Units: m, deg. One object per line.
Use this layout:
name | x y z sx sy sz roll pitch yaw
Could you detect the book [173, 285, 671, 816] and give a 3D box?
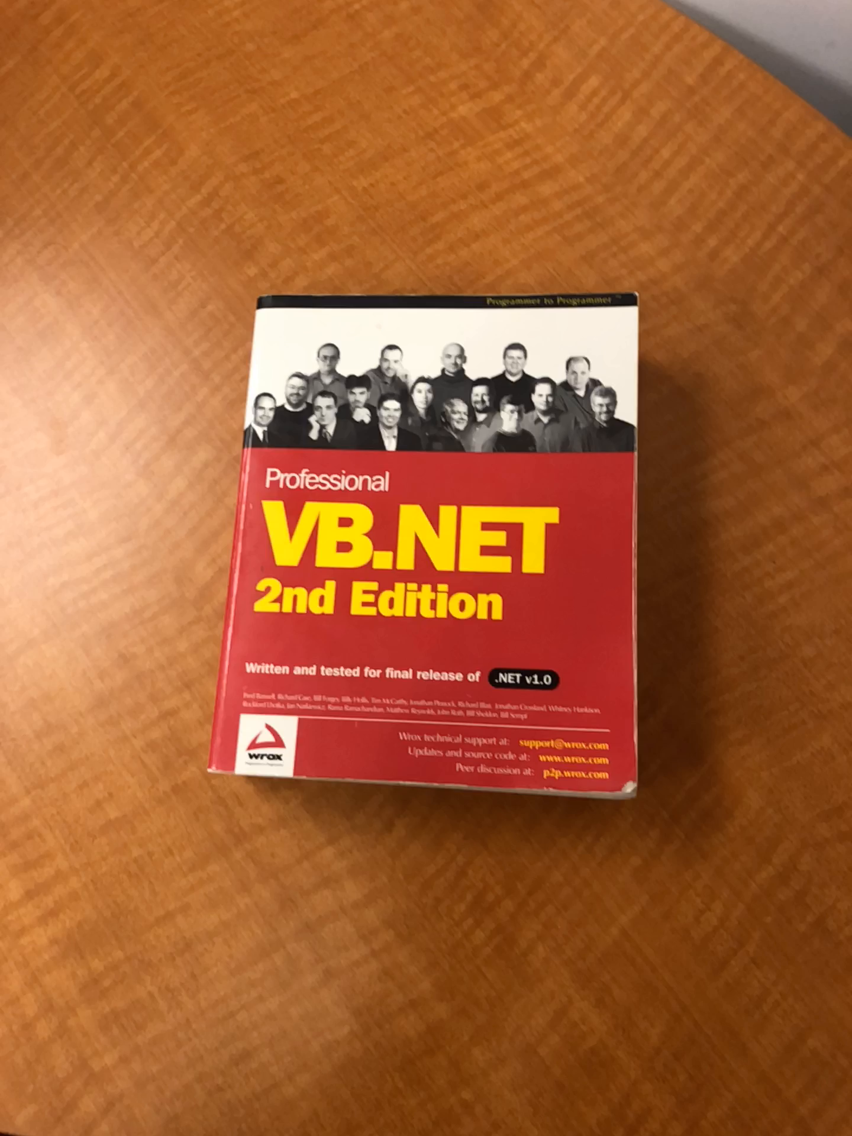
book | 0.006 -0.012 0.433 0.200 0.060 0.230 2 75 6
